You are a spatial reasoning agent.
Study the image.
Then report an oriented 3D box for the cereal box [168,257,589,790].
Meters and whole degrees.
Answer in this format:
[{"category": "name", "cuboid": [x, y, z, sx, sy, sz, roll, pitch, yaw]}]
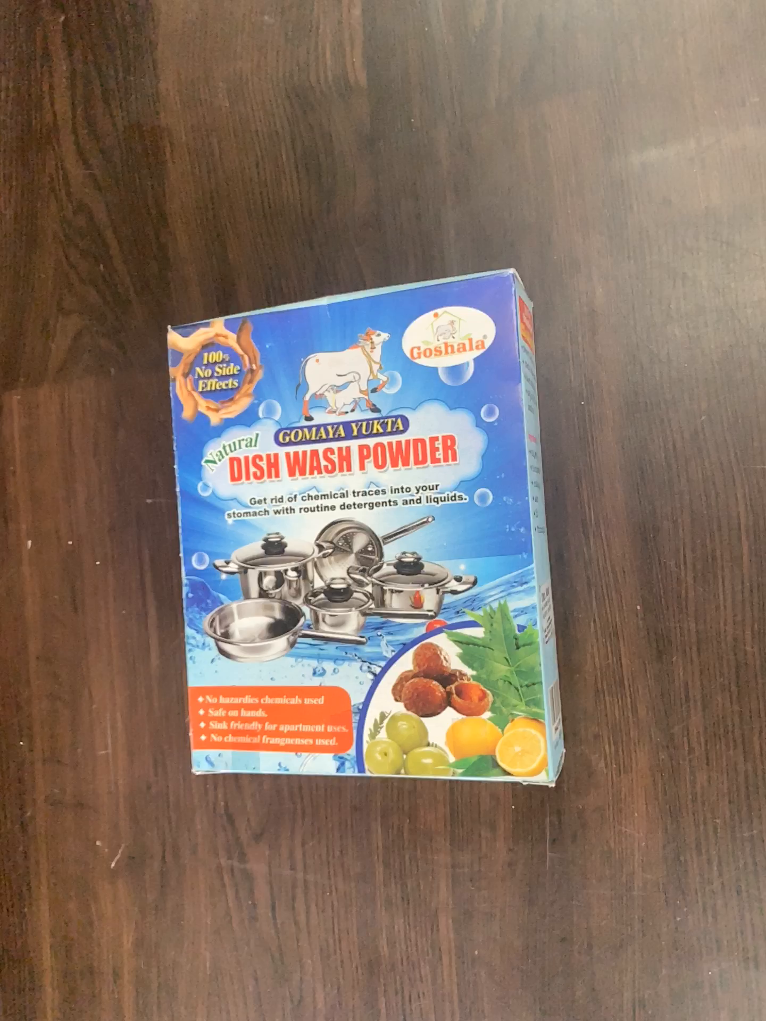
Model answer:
[{"category": "cereal box", "cuboid": [-0.002, 0.009, 0.304, 0.140, 0.060, 0.170, -5, 85, 20]}]
